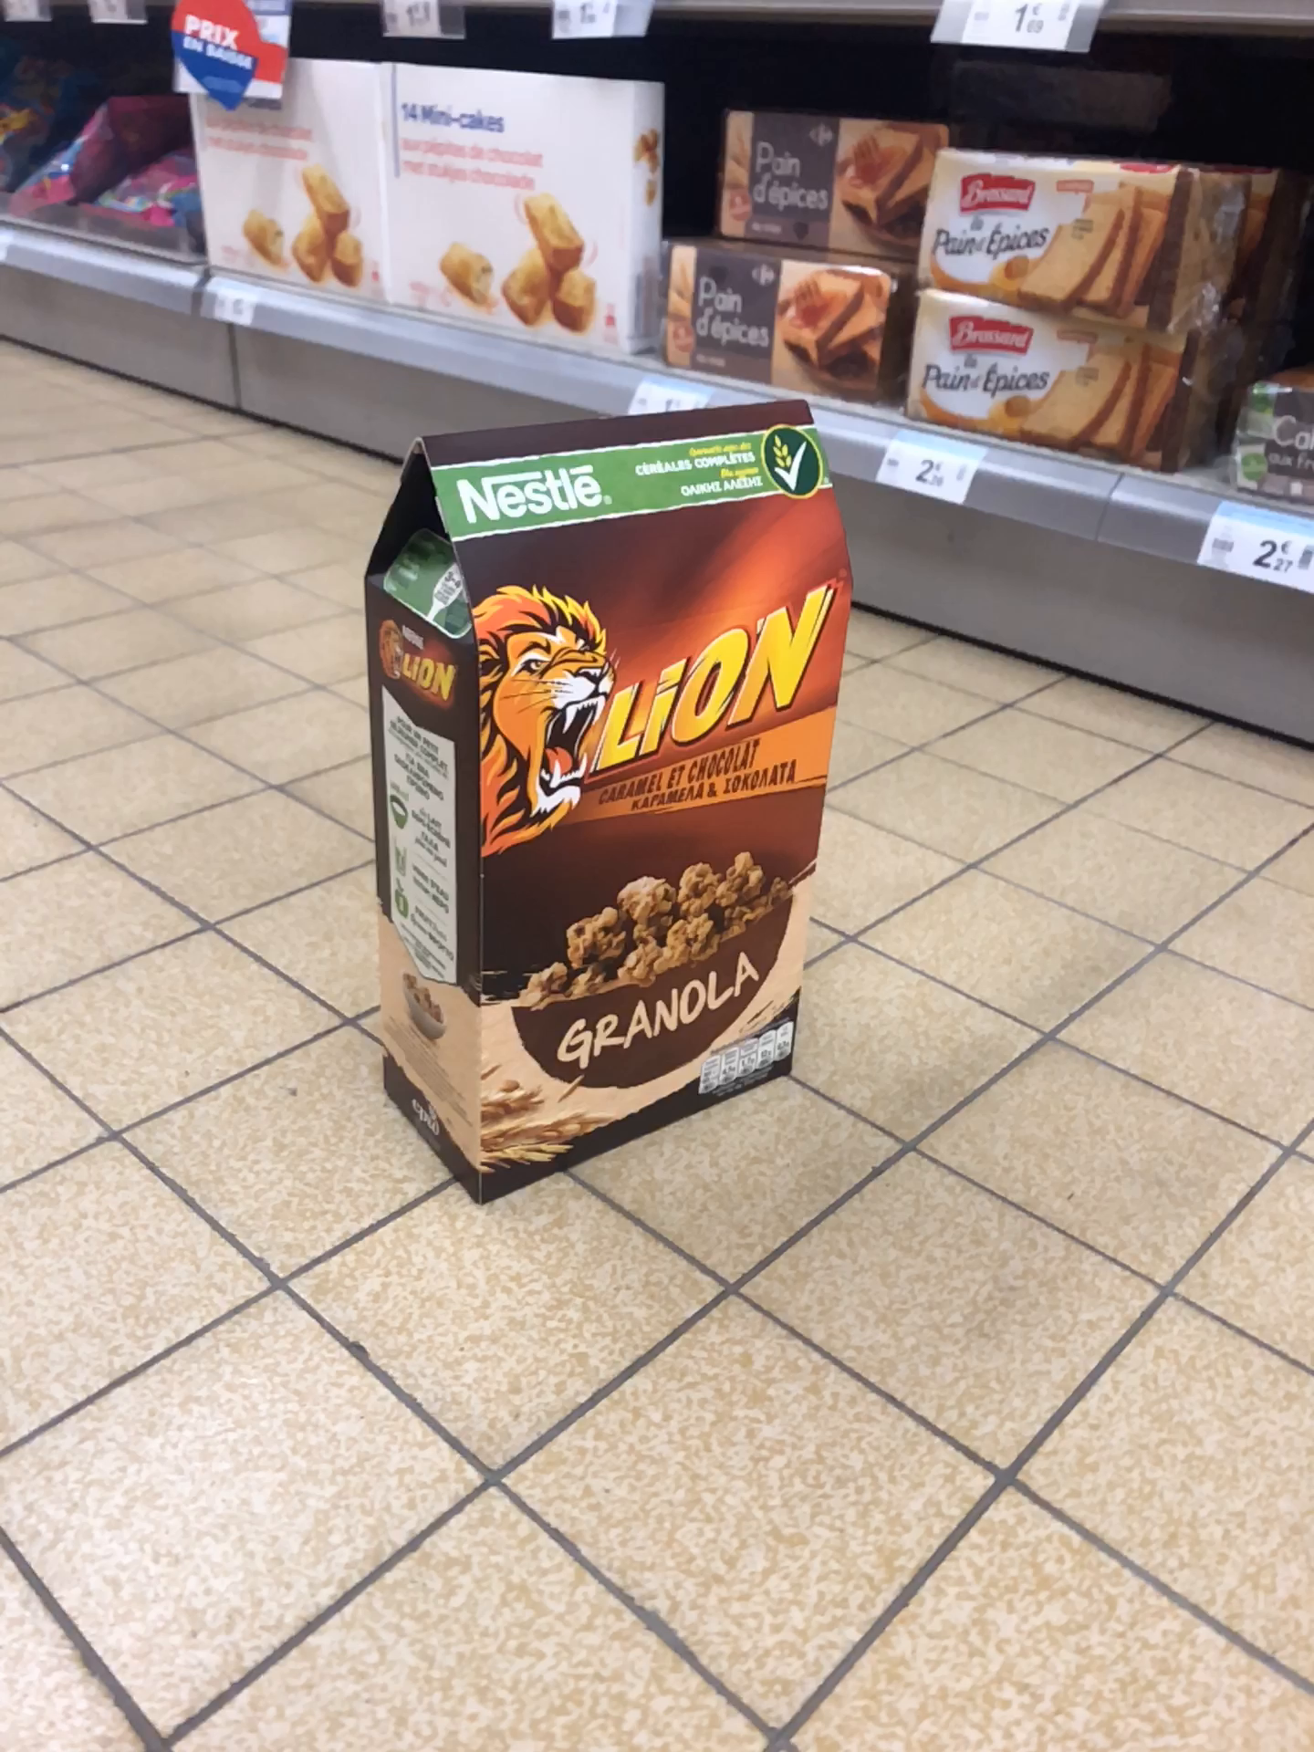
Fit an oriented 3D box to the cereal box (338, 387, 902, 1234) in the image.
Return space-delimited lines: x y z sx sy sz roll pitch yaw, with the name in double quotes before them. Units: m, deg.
"cereal box" -0.015 -0.025 0.492 0.151 0.249 0.080 -17 34 -32
